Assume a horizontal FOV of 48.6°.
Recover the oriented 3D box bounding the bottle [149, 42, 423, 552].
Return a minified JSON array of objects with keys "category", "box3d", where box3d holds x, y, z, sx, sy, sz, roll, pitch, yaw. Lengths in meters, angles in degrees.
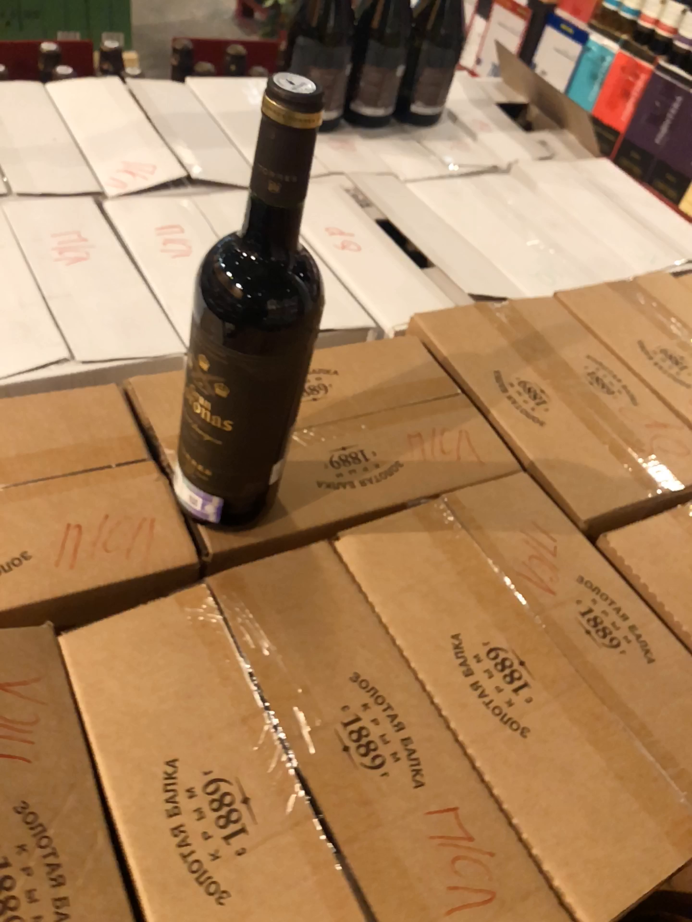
[{"category":"bottle","box3d":[-0.053,-0.080,0.454,0.090,0.278,0.090,8,45,-8]}]
